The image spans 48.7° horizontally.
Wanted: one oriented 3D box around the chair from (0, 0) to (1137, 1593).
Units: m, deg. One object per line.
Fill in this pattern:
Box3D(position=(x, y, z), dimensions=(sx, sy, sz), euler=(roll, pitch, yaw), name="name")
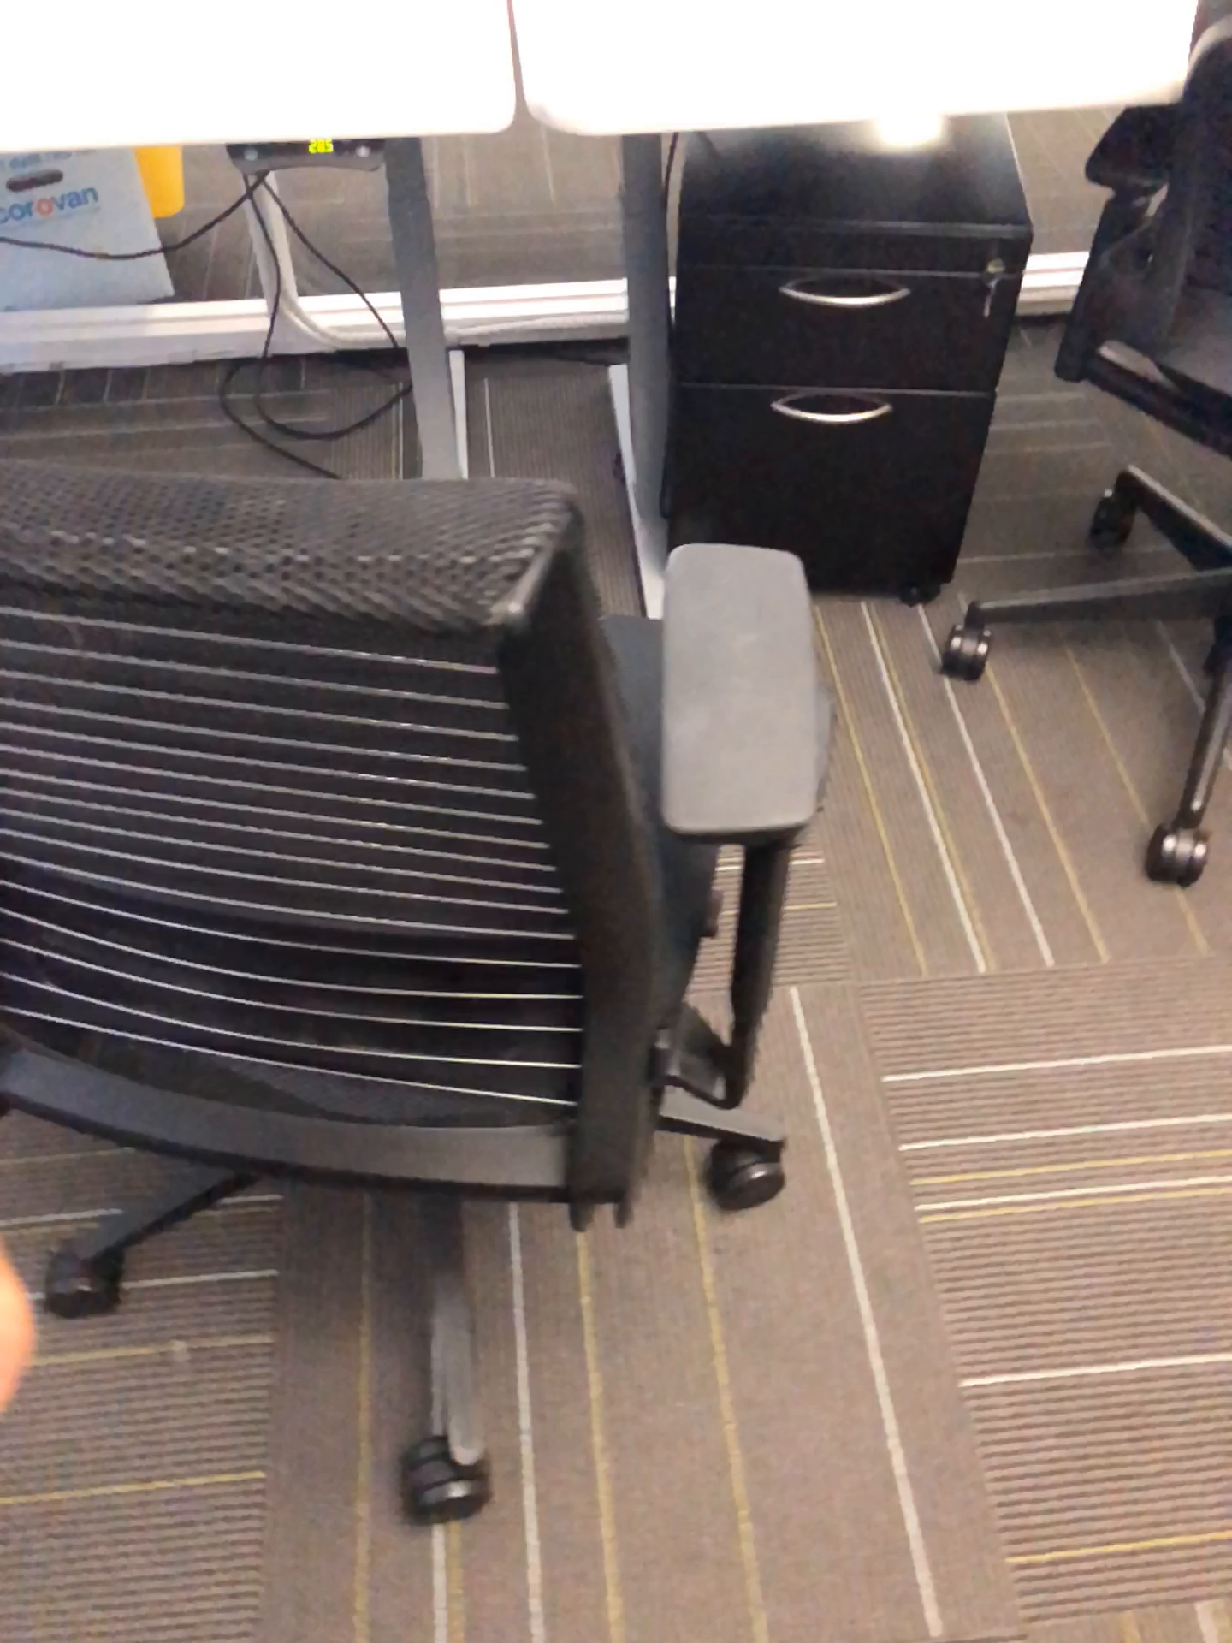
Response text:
Box3D(position=(-0.210, -0.013, 0.922), dimensions=(0.750, 0.996, 0.663), euler=(6, 50, 5), name="chair")
